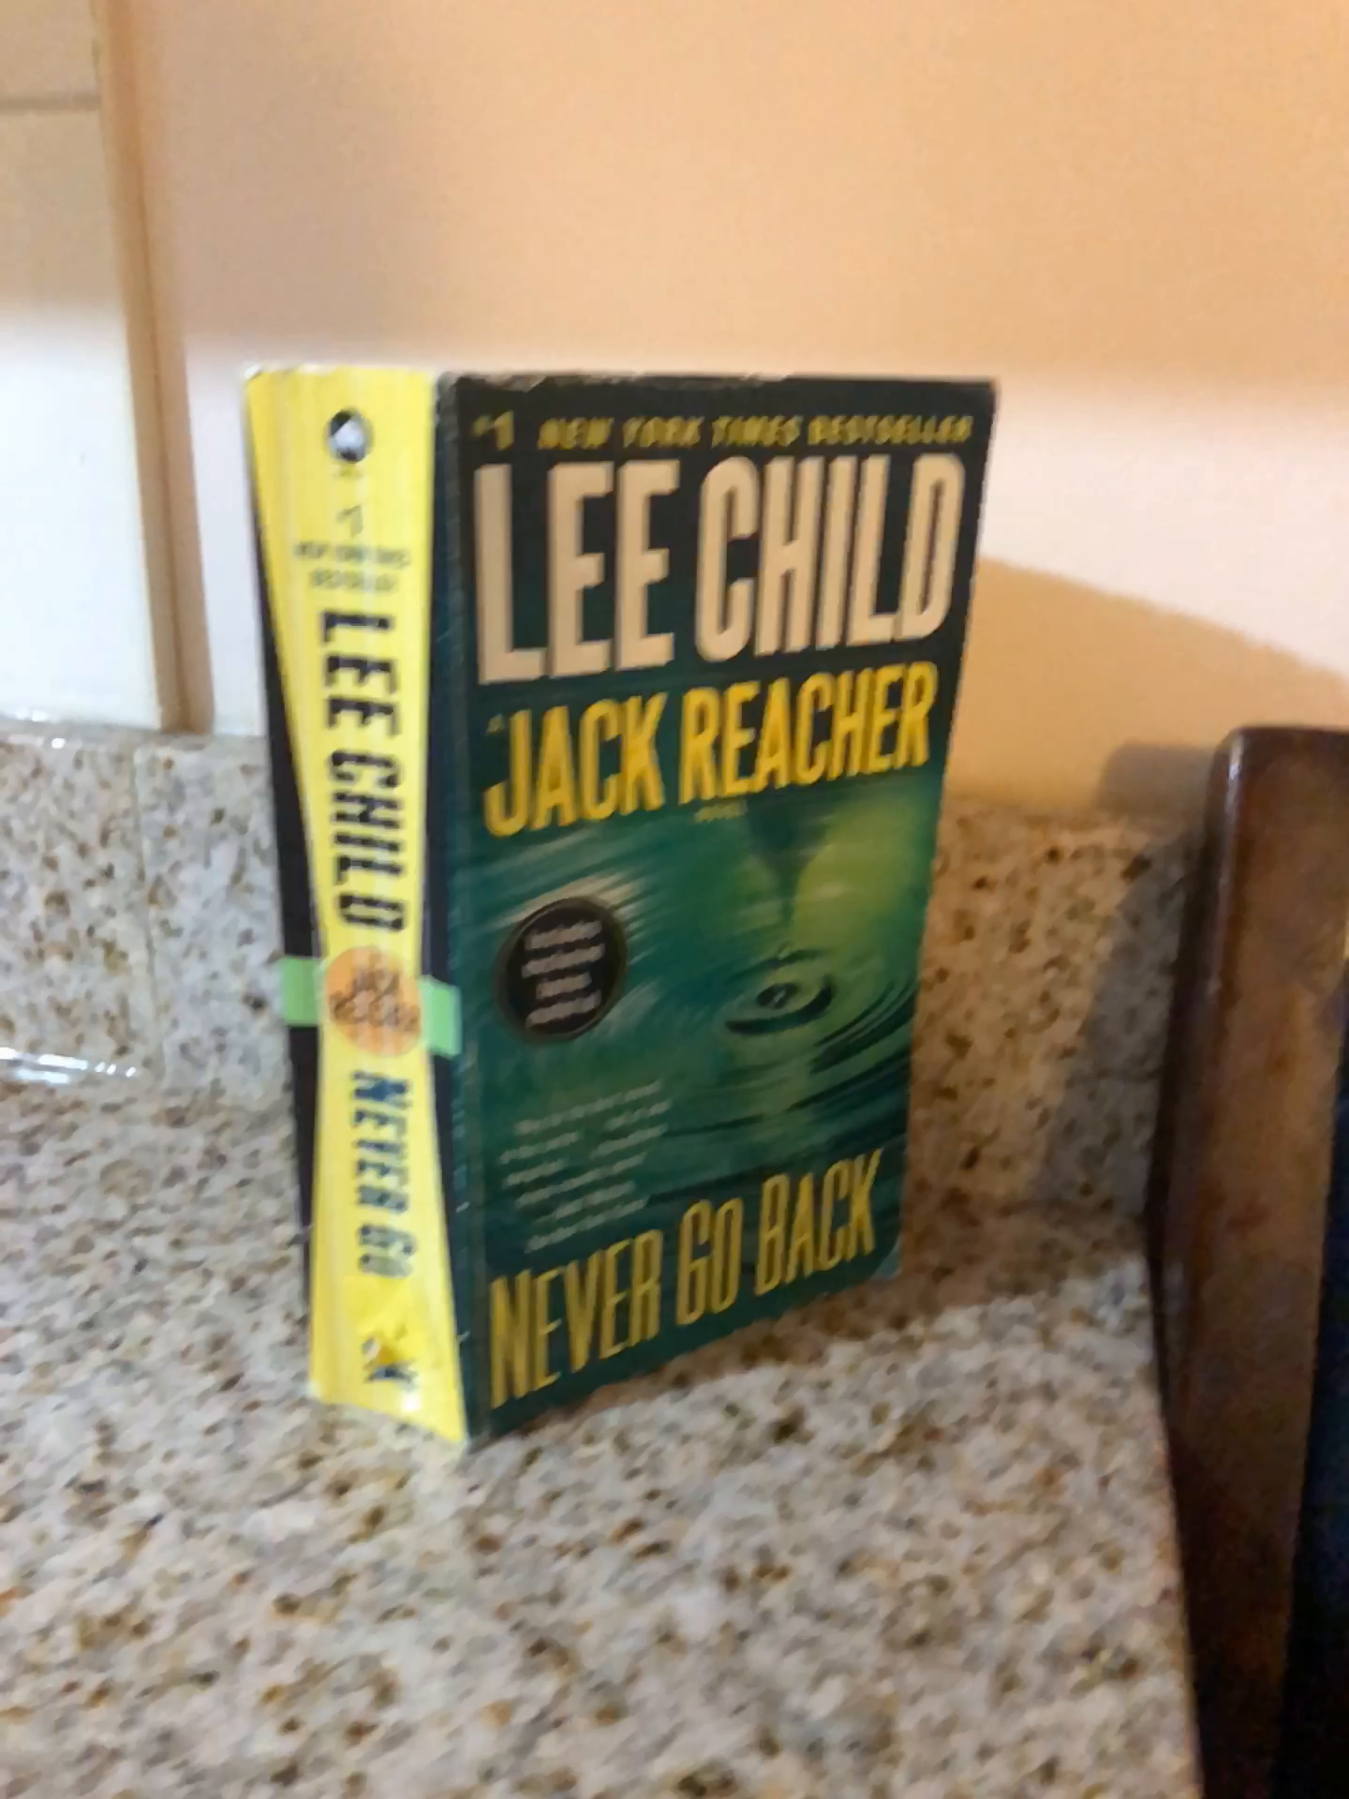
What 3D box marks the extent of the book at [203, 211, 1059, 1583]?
[{"bbox_3d":[-0.001,-0.008,0.298,0.050,0.219,0.160,20,26,39],"label":"book"}]
